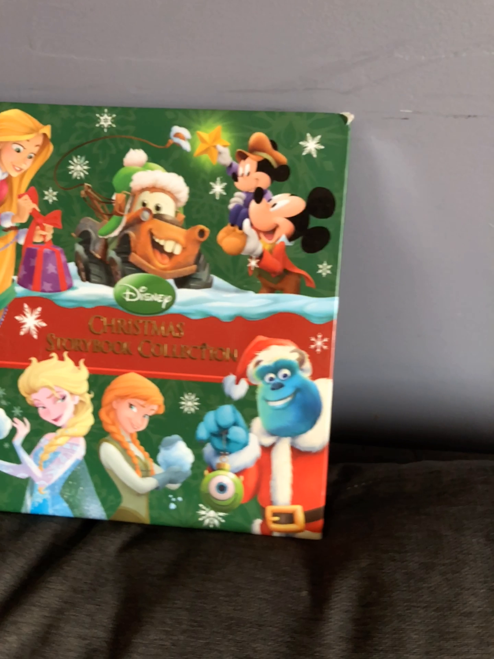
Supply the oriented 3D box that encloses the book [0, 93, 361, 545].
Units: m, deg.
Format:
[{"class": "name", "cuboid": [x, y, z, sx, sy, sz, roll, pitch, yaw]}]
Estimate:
[{"class": "book", "cuboid": [-0.060, -0.005, 0.322, 0.227, 0.238, 0.033, 3, 8, 5]}]
